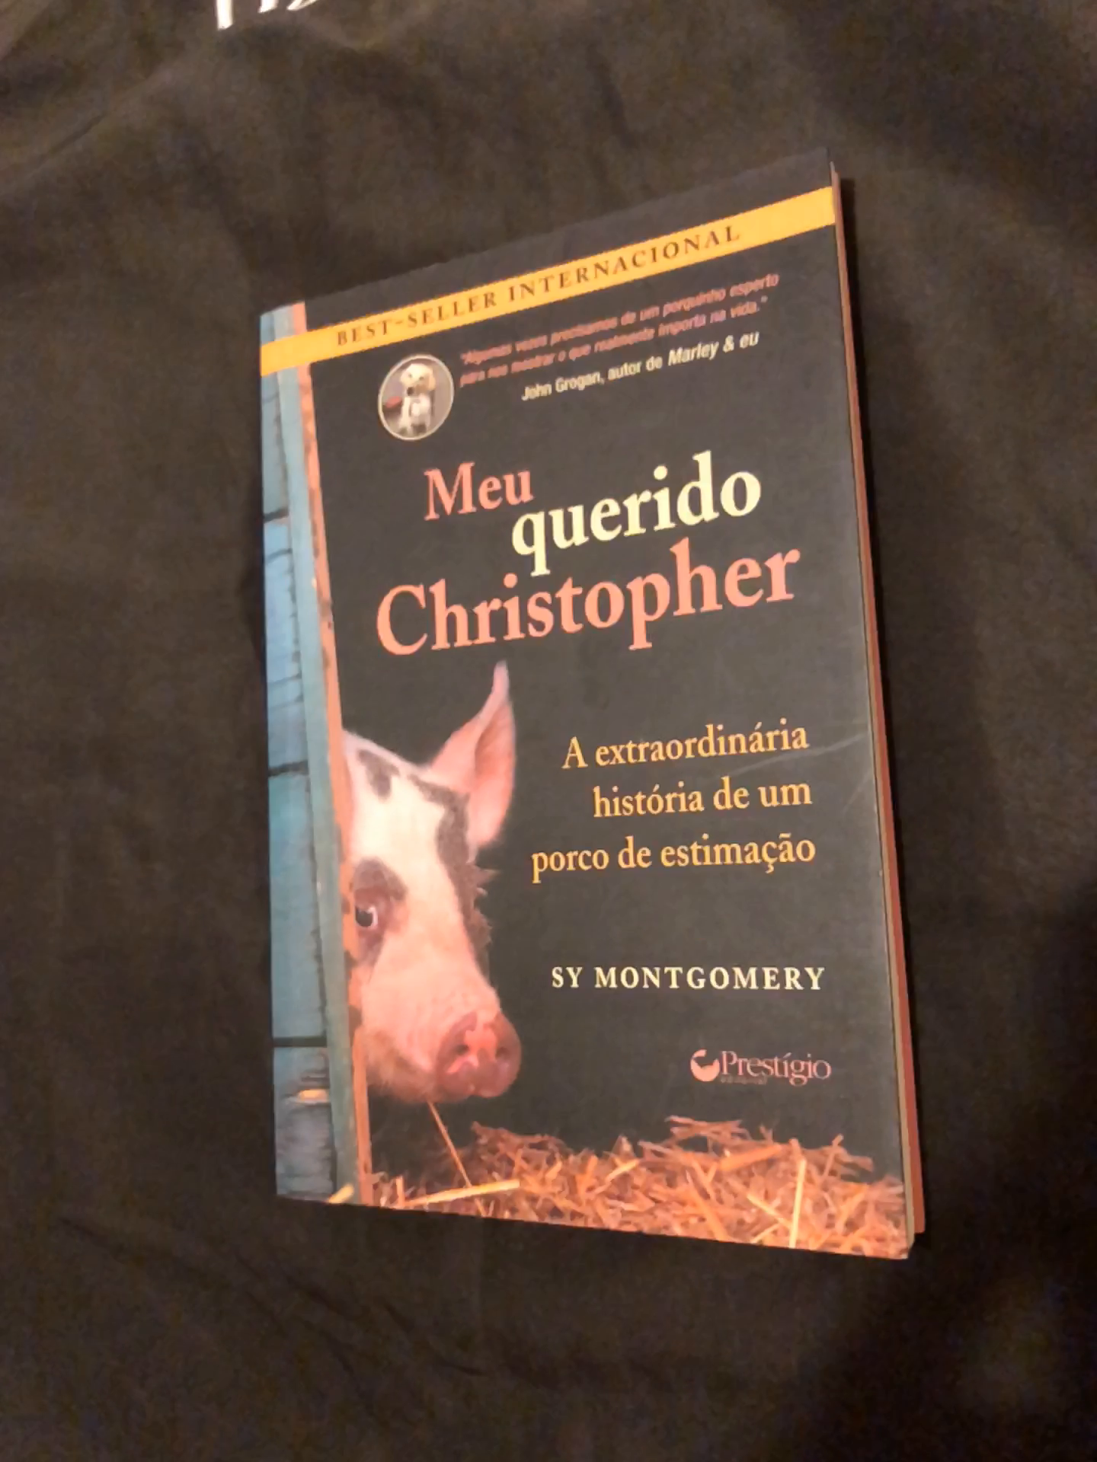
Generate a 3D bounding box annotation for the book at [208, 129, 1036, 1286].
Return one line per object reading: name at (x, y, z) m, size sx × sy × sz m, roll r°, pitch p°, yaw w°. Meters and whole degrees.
book at (0.004, -0.001, 0.271) m, size 0.170 × 0.020 × 0.220 m, roll -7°, pitch 83°, yaw 23°
